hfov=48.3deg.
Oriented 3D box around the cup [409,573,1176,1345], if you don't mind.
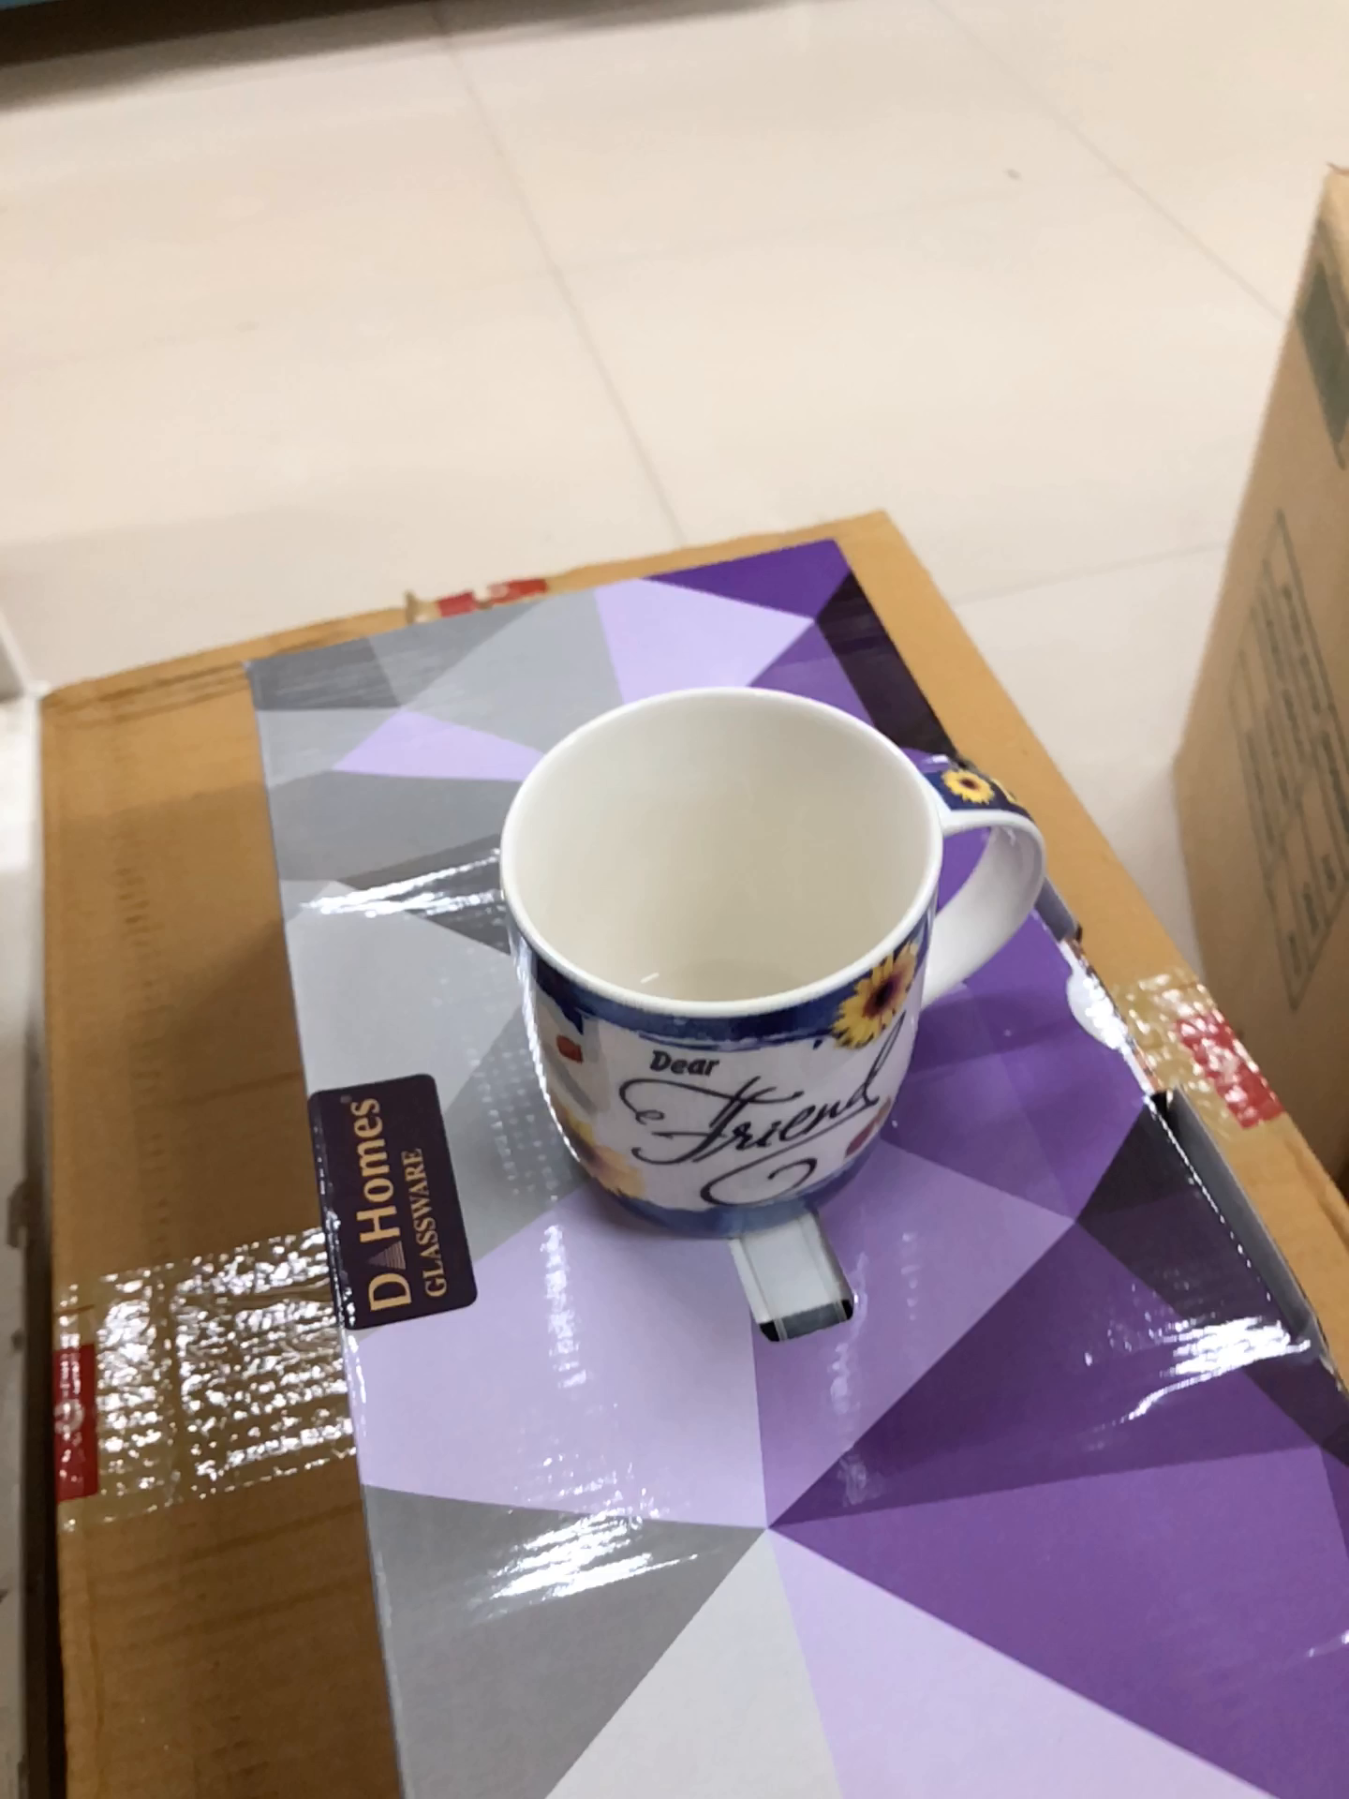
[{"bbox_3d":[0.024,0.010,0.317,0.120,0.089,0.080,-29,54,-20],"label":"cup"}]
